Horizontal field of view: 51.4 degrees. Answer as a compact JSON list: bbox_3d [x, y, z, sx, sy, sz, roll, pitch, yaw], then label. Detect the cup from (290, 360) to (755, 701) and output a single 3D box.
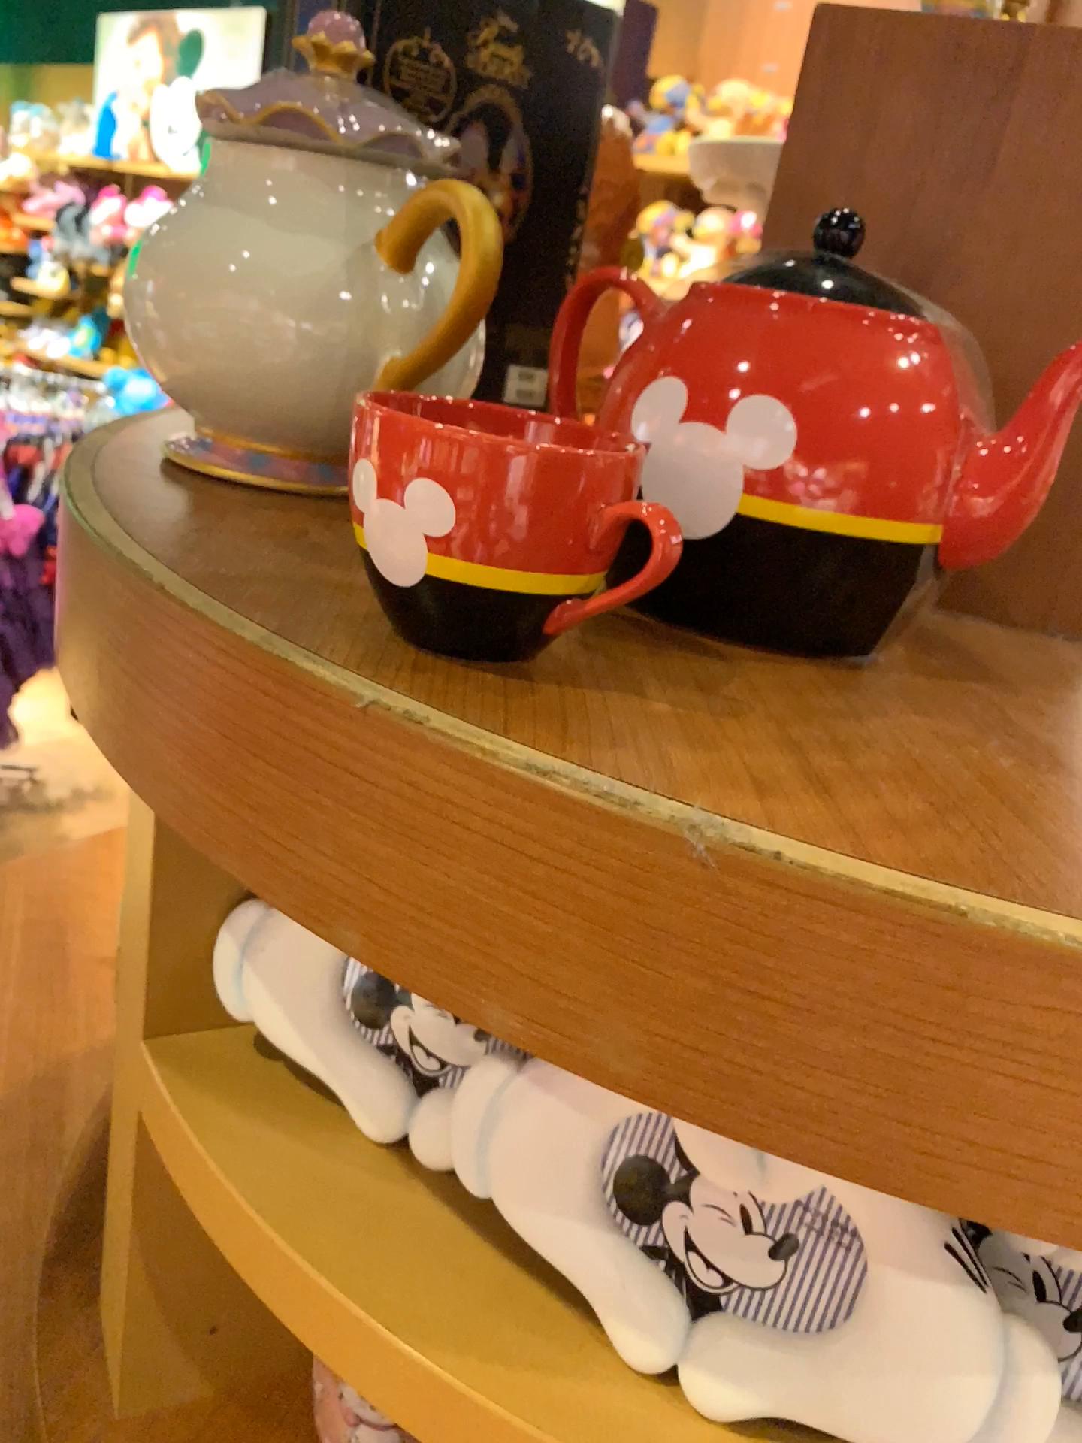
[{"bbox_3d":[-0.008,-0.059,0.324,0.100,0.065,0.077,26,26,38],"label":"cup"}]
